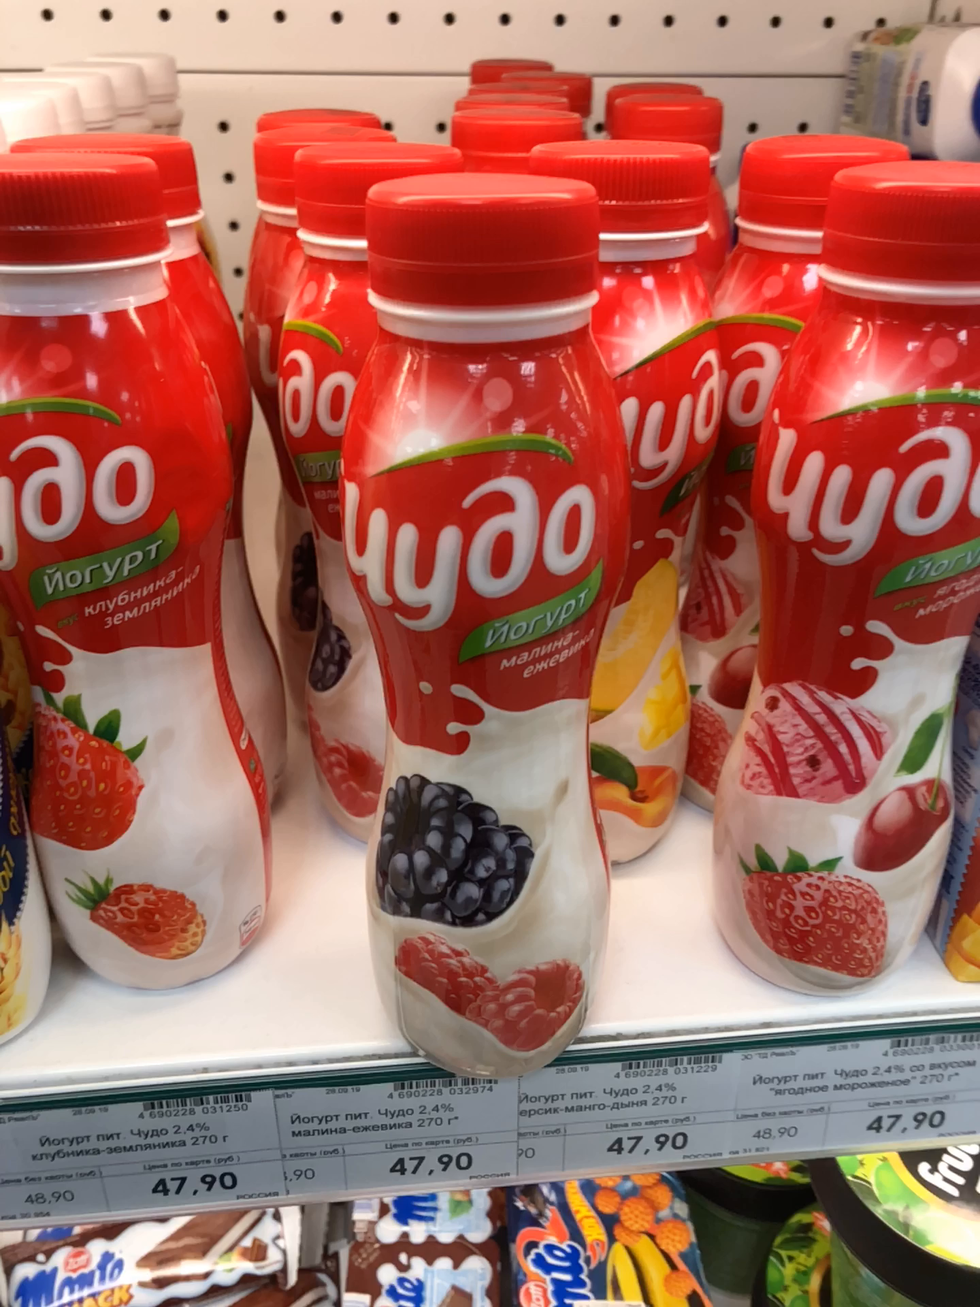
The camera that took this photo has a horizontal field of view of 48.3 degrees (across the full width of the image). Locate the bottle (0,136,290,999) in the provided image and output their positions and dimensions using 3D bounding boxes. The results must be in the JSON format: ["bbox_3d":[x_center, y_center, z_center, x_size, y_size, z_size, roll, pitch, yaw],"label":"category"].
[{"bbox_3d":[-0.081,-0.010,0.238,0.054,0.181,0.050,0,29,0],"label":"bottle"}]

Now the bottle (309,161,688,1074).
[{"bbox_3d":[0.001,0.002,0.221,0.054,0.181,0.050,0,29,0],"label":"bottle"}]

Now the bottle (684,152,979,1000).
[{"bbox_3d":[0.083,-0.009,0.242,0.054,0.181,0.050,0,29,0],"label":"bottle"}]
